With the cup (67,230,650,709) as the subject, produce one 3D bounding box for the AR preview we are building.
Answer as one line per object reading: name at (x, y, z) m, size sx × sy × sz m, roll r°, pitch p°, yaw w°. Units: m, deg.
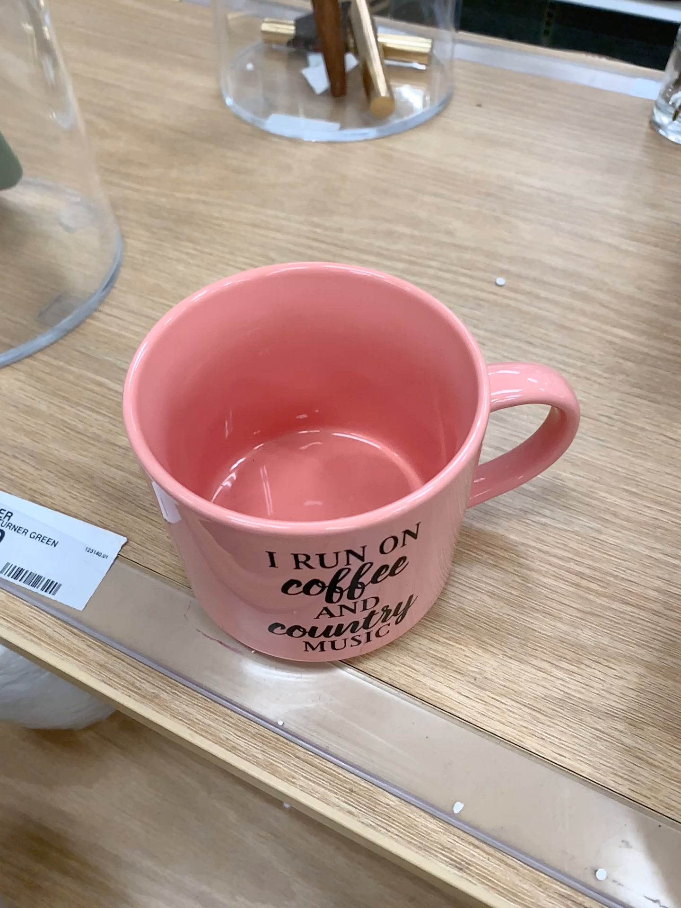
cup at (-0.001, 0.004, 0.225) m, size 0.133 × 0.086 × 0.104 m, roll -8°, pitch 53°, yaw -5°
